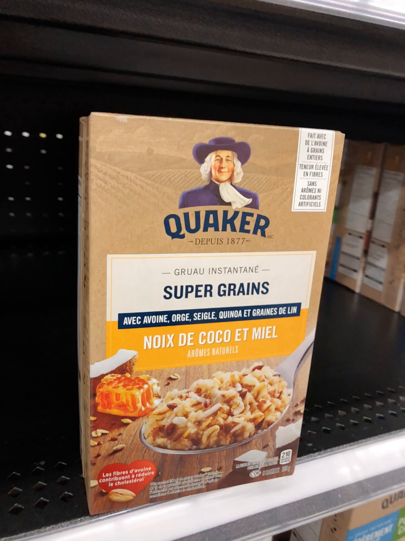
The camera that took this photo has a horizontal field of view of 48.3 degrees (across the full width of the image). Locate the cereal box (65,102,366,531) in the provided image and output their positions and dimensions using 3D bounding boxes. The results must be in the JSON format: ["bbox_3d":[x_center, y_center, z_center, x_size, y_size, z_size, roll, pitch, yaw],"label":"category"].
[{"bbox_3d":[-0.002,0.021,0.243,0.130,0.199,0.060,-2,18,-20],"label":"cereal box"}]
